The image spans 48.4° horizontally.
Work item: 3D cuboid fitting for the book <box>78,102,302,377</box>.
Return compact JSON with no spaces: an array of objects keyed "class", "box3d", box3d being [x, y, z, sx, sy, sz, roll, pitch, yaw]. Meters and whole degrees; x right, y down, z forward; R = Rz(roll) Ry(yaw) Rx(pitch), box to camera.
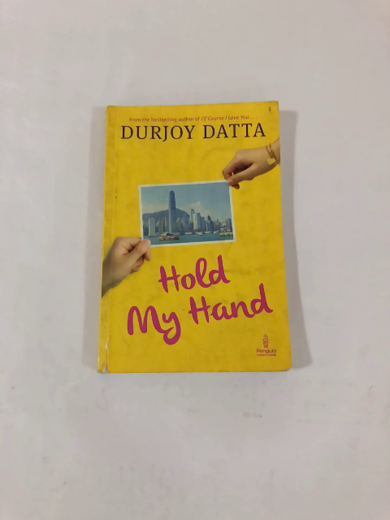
[{"class":"book","box3d":[-0.004,-0.018,0.302,0.140,0.020,0.190,0,78,-1]}]
